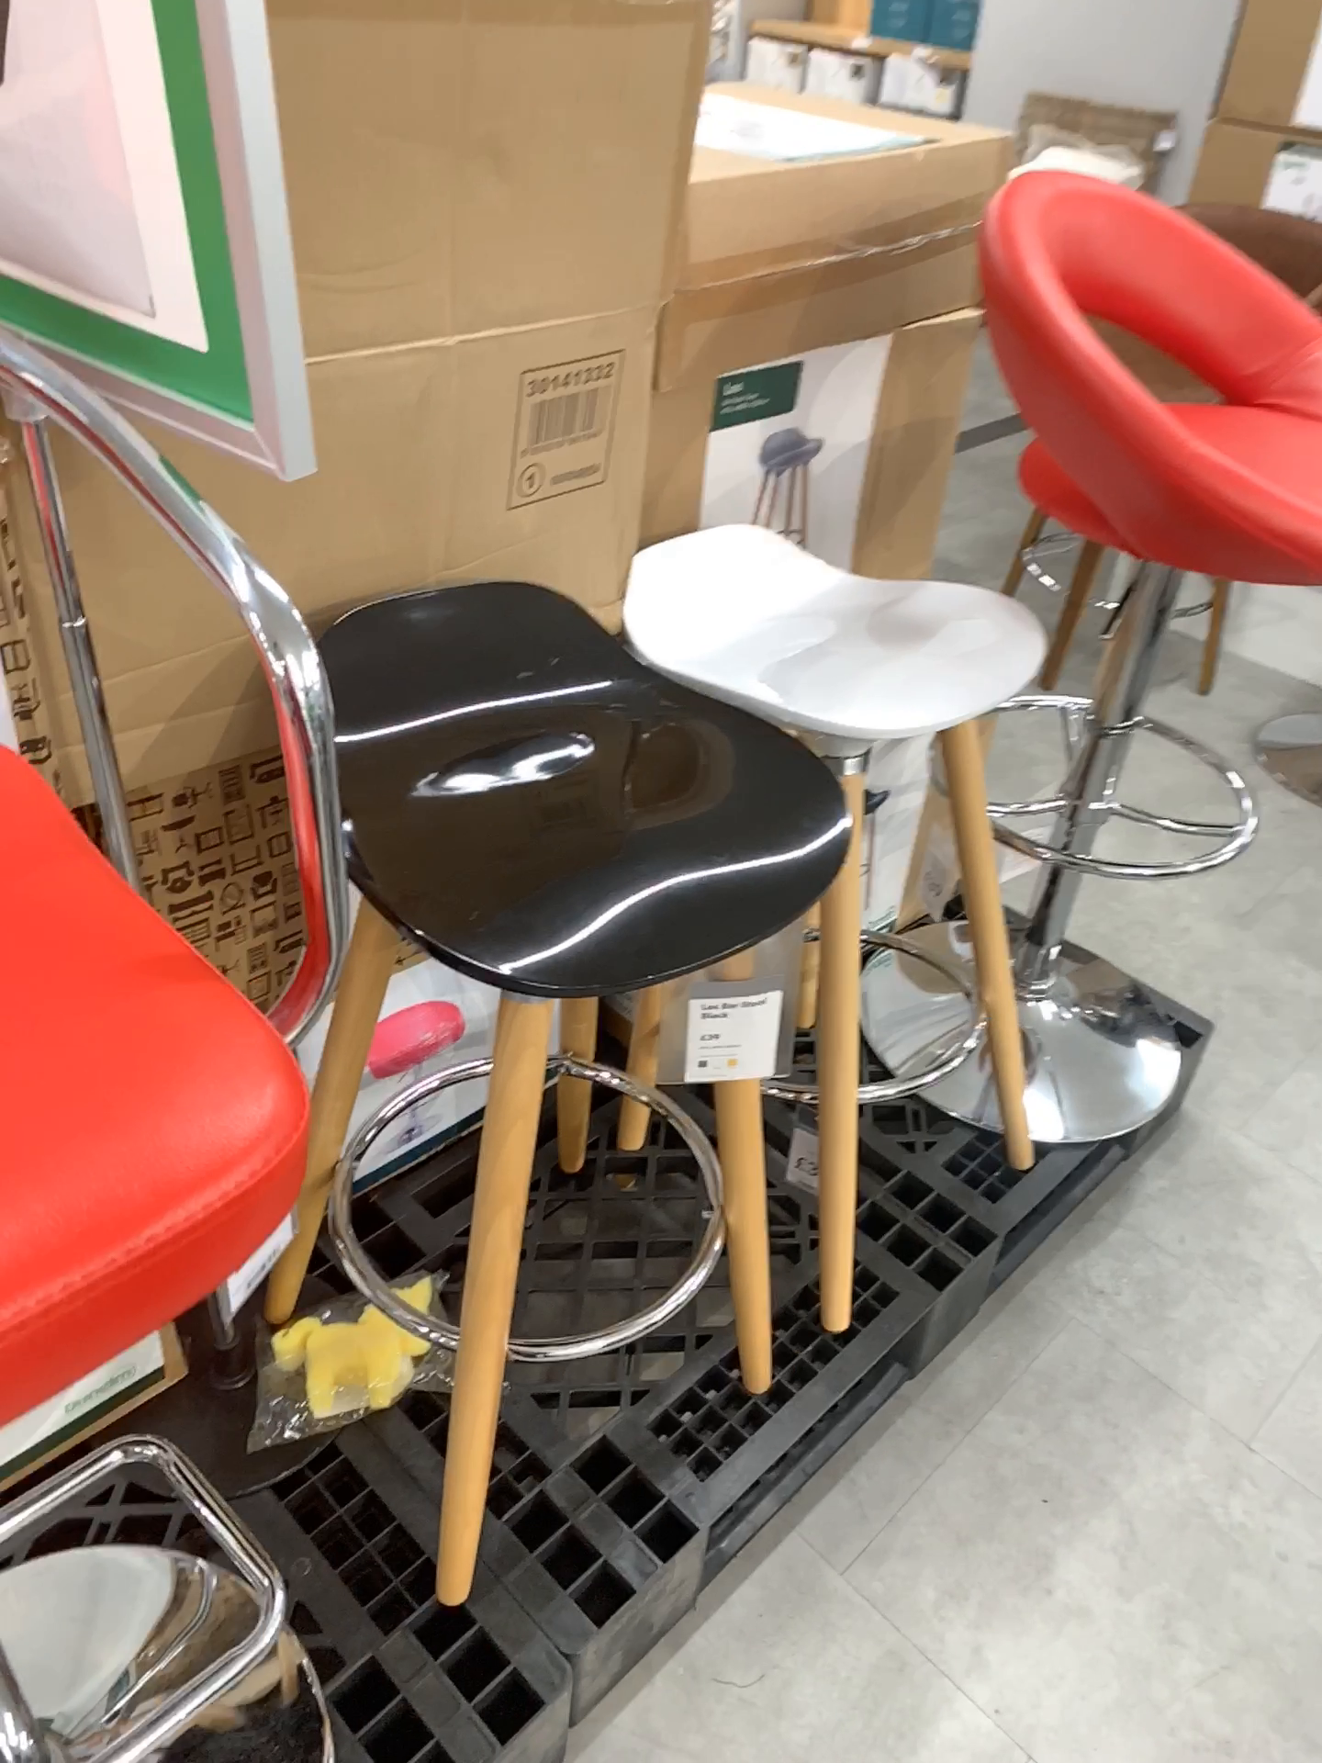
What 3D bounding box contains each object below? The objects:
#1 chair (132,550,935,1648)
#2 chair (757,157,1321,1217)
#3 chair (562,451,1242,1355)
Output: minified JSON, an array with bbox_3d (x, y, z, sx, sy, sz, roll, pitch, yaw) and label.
[{"bbox_3d":[-0.119,0.174,1.116,0.385,0.721,0.398,-22,44,-32],"label":"chair"},{"bbox_3d":[0.499,-0.215,1.517,0.476,0.978,0.478,-27,47,-37],"label":"chair"},{"bbox_3d":[0.193,0.015,1.372,0.386,0.721,0.418,-27,47,-37],"label":"chair"}]
